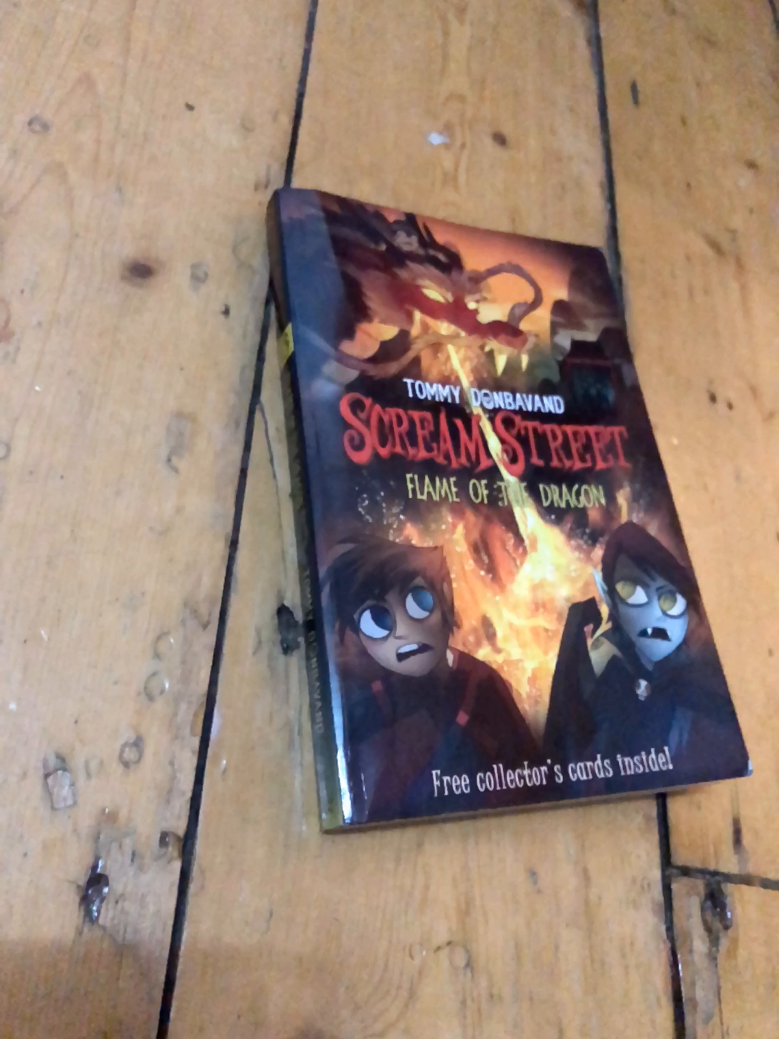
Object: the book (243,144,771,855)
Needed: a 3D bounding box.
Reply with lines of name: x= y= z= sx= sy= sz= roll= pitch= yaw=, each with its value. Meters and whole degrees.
book: x=0.030 y=-0.011 z=0.273 sx=0.130 sy=0.040 sz=0.200 roll=3 pitch=66 yaw=-27
